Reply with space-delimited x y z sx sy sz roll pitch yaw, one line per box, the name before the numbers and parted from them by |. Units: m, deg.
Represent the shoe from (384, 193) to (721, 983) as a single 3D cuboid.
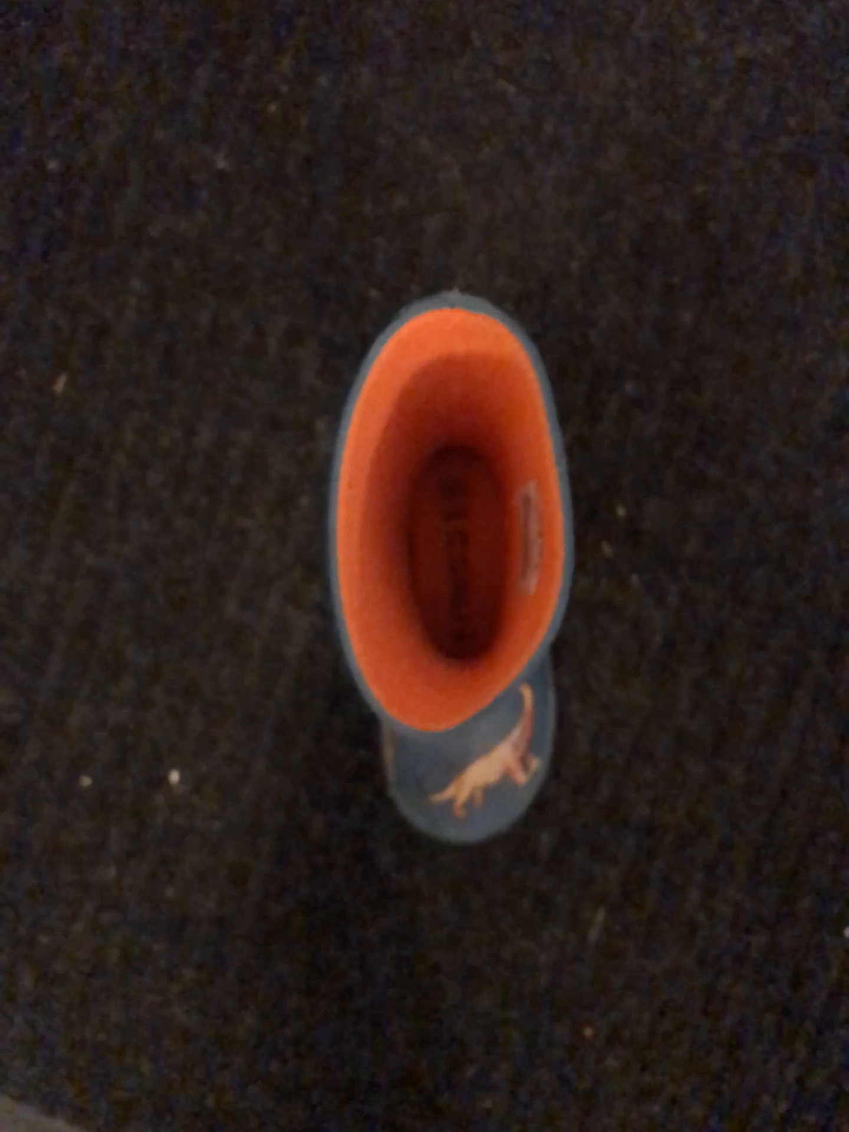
shoe | 0.035 0.005 0.324 0.080 0.180 0.190 0 90 3
